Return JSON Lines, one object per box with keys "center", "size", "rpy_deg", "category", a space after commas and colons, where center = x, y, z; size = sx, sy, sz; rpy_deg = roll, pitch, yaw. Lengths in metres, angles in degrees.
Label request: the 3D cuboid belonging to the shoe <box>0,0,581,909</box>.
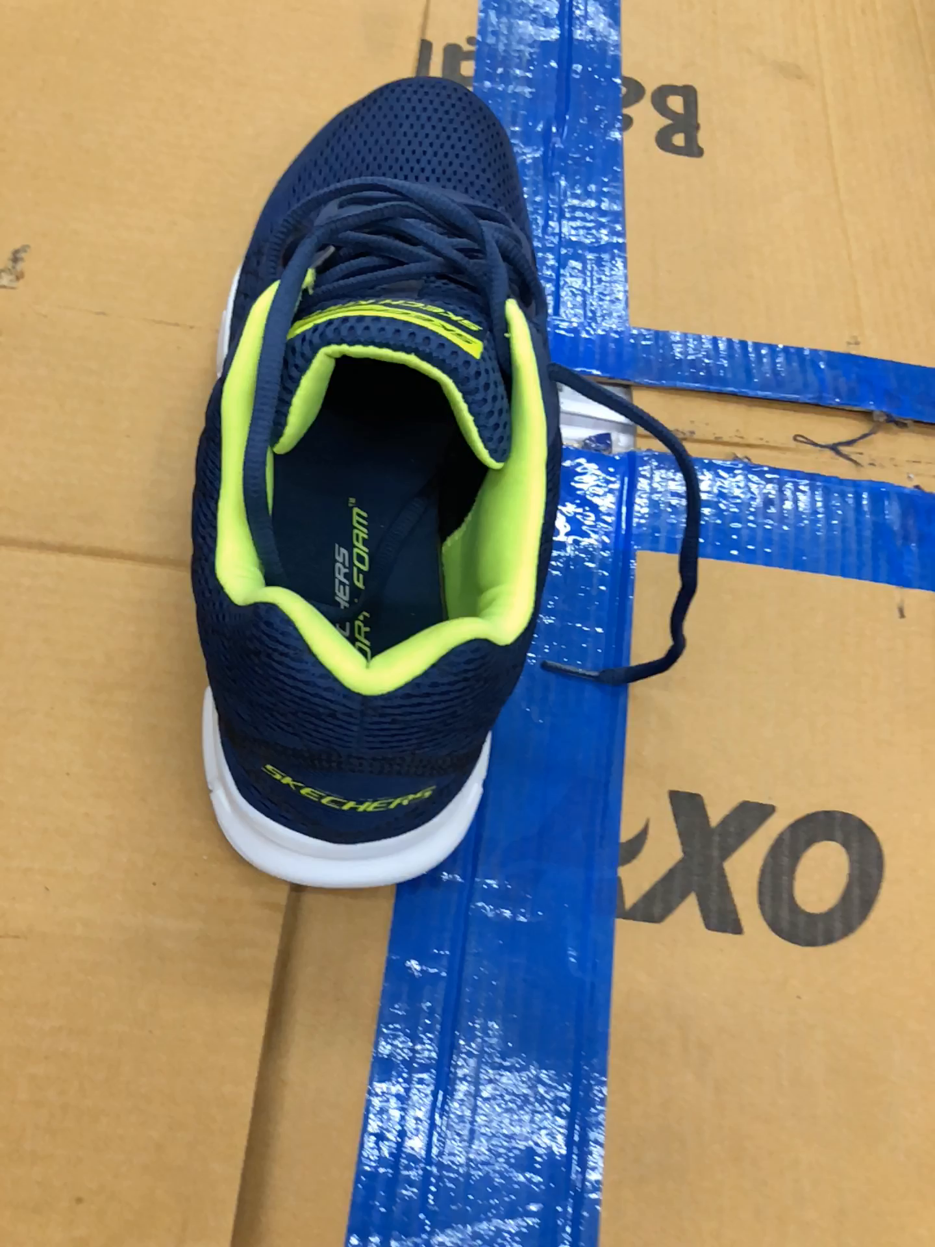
{"center": [-0.037, -0.093, 0.289], "size": [0.106, 0.146, 0.308], "rpy_deg": [5, 65, -5], "category": "shoe"}
